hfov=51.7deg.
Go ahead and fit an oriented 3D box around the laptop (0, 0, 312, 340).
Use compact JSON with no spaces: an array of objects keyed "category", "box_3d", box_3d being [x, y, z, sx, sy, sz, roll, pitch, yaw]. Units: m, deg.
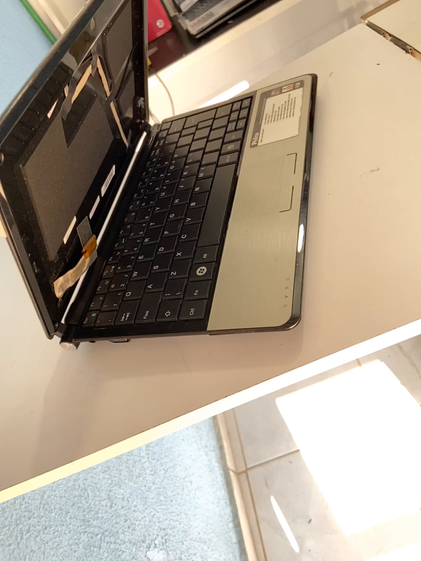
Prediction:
[{"category":"laptop","box_3d":[-0.042,-0.118,0.320,0.176,0.144,0.277,-8,50,26]}]
